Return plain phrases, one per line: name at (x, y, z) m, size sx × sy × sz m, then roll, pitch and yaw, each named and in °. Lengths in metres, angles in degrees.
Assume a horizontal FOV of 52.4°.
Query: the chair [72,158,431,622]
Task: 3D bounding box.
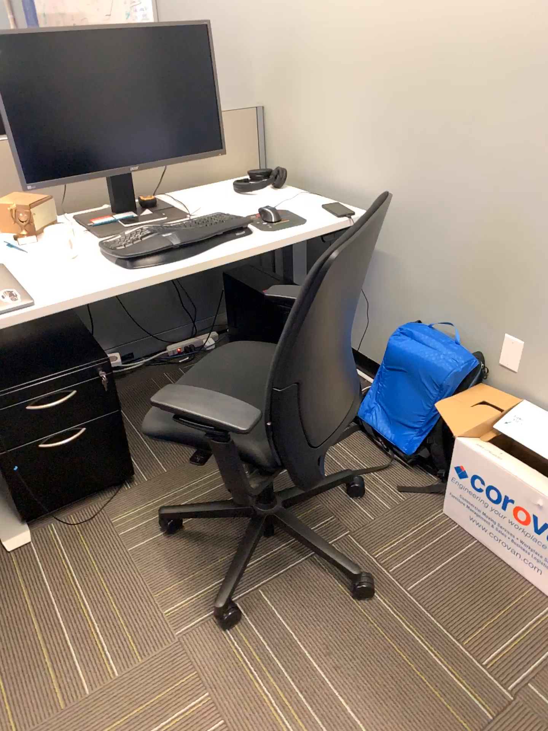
chair at (0.033, 0.000, 1.611) m, size 0.611 × 0.945 × 0.834 m, roll 10°, pitch 34°, yaw 18°
